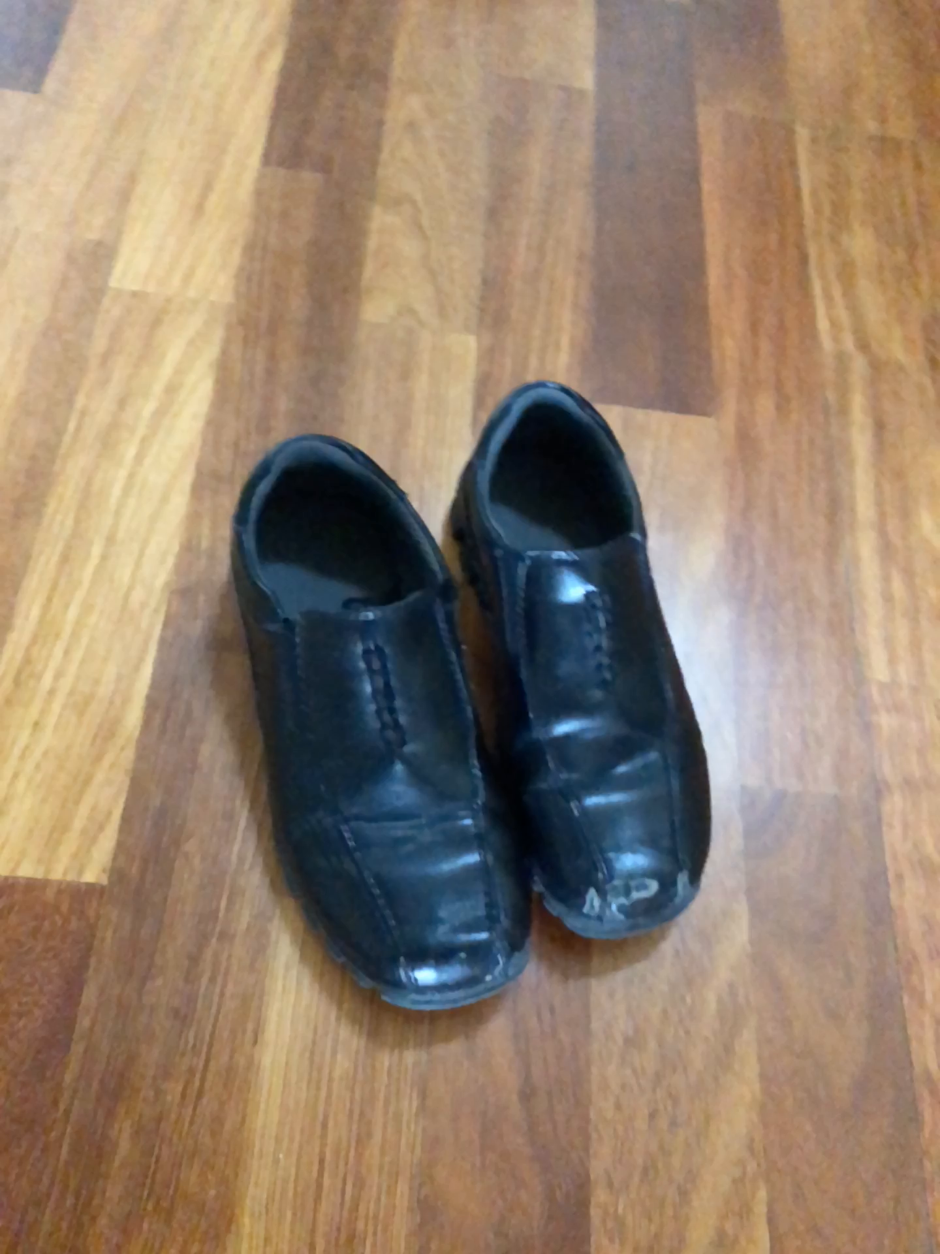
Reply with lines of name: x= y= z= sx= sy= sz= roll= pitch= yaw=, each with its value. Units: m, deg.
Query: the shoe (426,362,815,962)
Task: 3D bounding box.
shoe: x=0.049 y=0.007 z=0.435 sx=0.091 sy=0.075 sz=0.233 roll=-7 pitch=64 yaw=-12

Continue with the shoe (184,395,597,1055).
shoe: x=-0.041 y=0.030 z=0.408 sx=0.094 sy=0.075 sz=0.233 roll=-12 pitch=65 yaw=-14
